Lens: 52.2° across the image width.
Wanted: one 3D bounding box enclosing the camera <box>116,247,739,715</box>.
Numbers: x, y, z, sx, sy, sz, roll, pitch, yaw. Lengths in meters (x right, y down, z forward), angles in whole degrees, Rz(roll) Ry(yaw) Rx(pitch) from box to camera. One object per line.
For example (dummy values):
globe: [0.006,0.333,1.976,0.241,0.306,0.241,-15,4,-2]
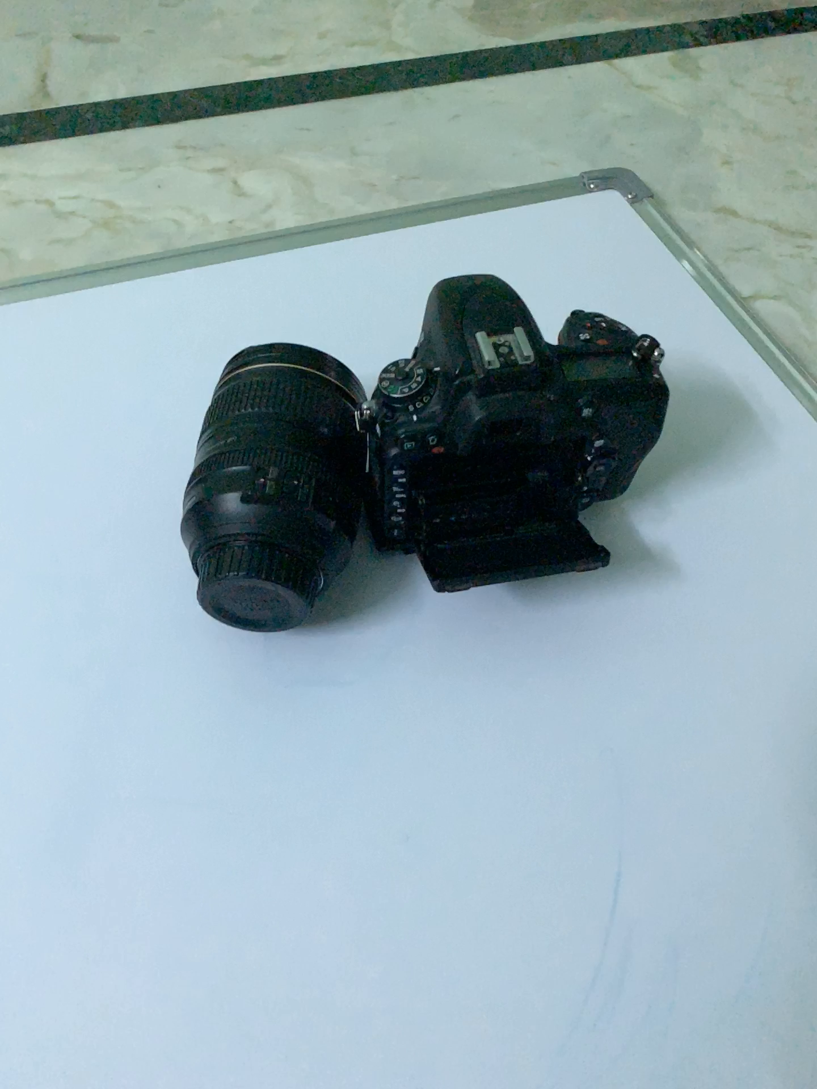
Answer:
camera: [-0.001,-0.039,0.411,0.240,0.100,0.160,-12,56,-11]
